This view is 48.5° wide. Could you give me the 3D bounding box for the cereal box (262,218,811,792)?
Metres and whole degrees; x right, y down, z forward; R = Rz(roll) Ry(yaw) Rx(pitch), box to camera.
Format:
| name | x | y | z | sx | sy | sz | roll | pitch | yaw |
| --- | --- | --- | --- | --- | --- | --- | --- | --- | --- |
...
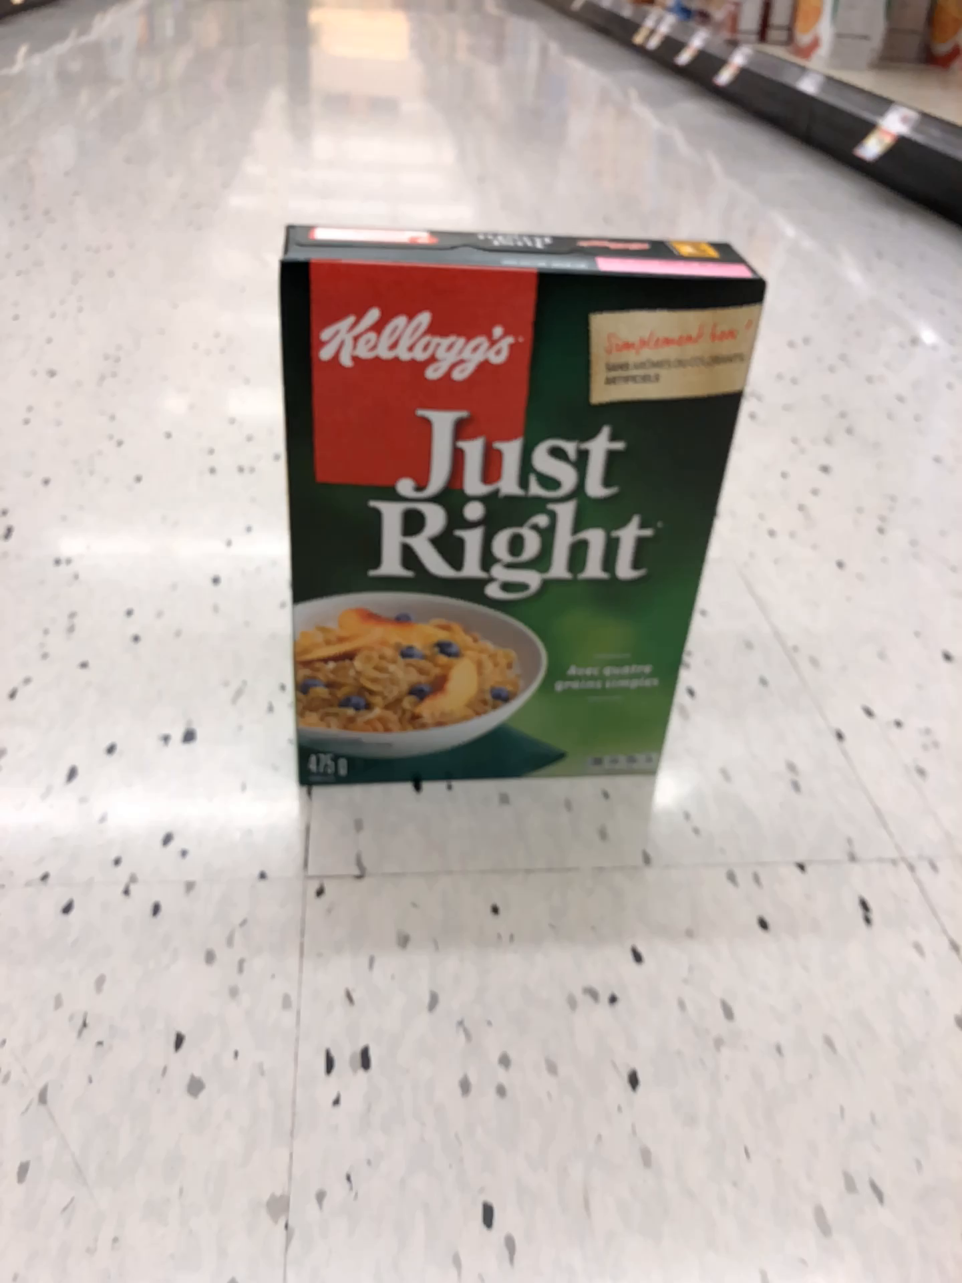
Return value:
| name | x | y | z | sx | sy | sz | roll | pitch | yaw |
| --- | --- | --- | --- | --- | --- | --- | --- | --- | --- |
| cereal box | 0.013 | -0.048 | 0.501 | 0.210 | 0.268 | 0.050 | 0 | 35 | -6 |
